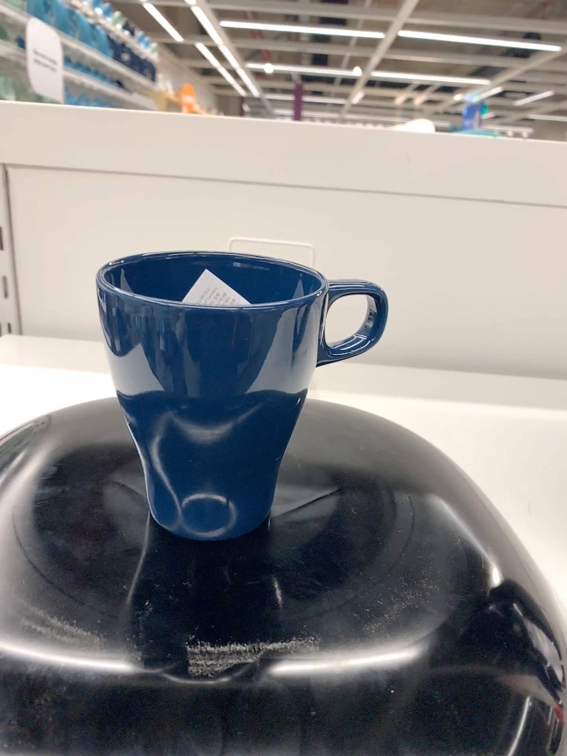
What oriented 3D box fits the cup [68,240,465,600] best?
[{"bbox_3d":[-0.011,0.001,0.238,0.120,0.100,0.090,-9,23,-33],"label":"cup"}]
